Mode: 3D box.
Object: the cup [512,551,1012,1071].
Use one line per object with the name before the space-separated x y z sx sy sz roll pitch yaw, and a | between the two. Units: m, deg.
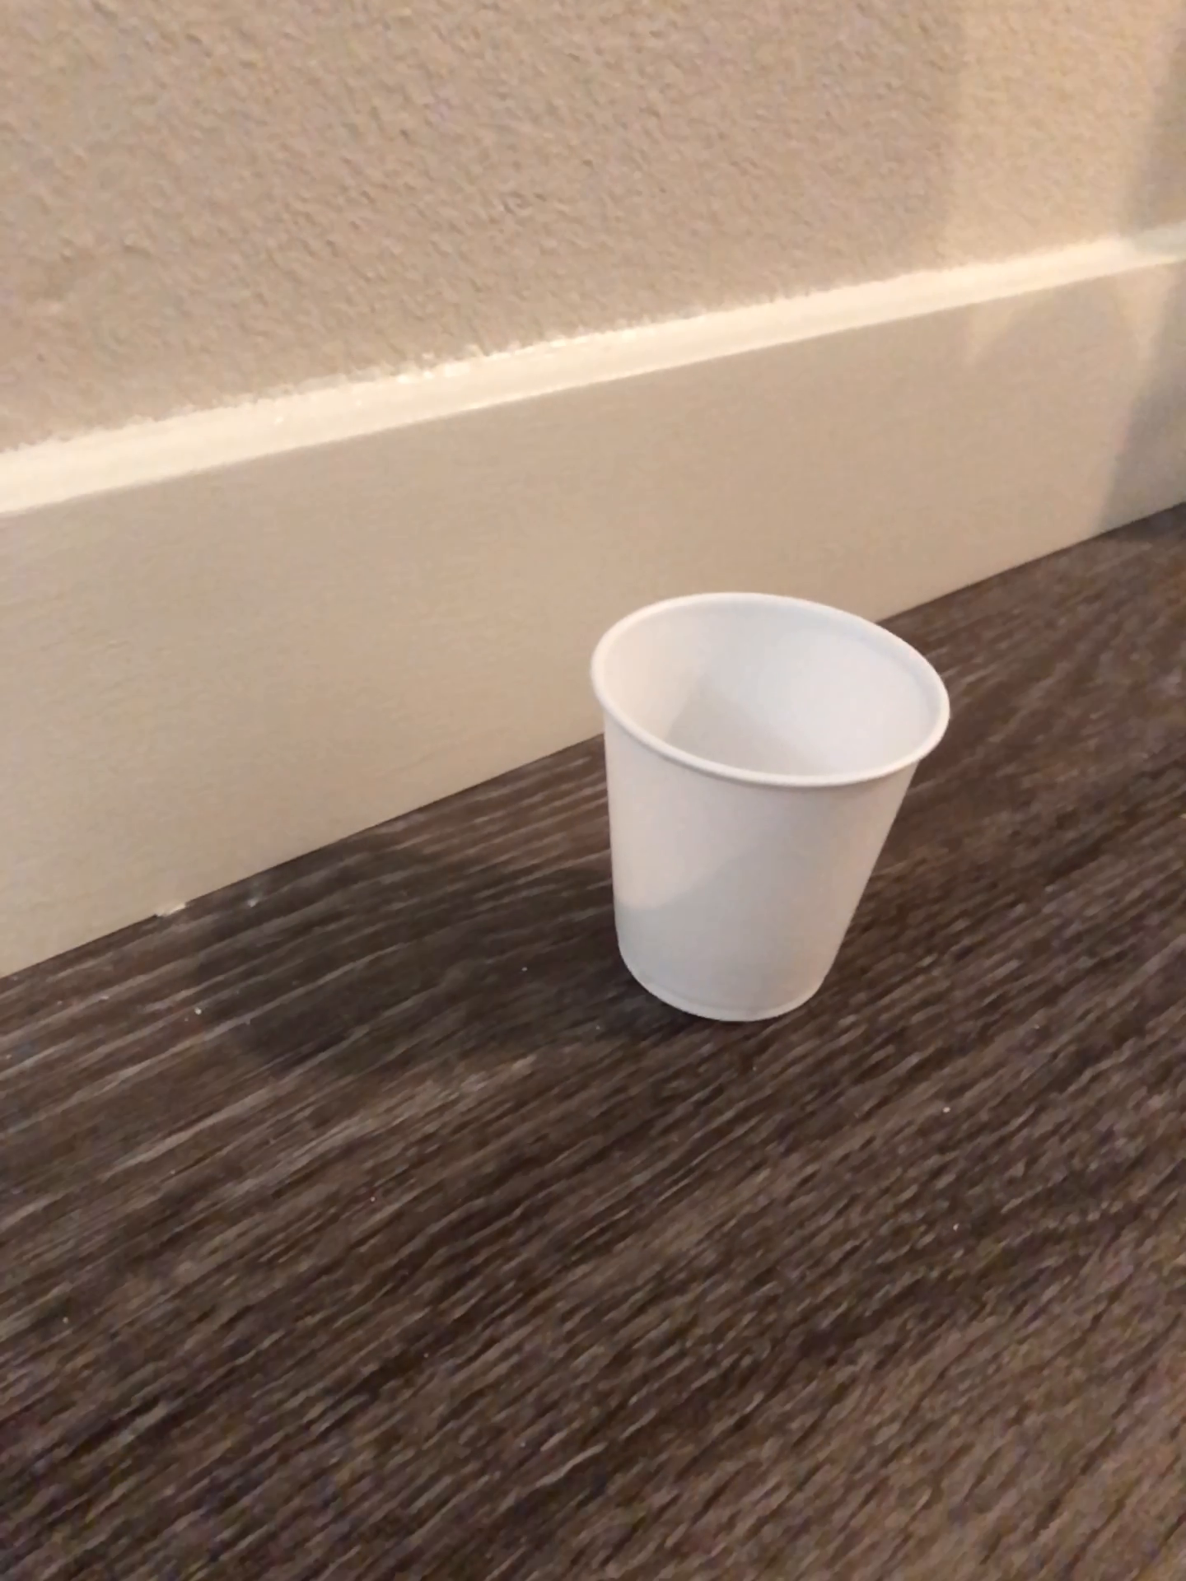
cup | 0.024 0.001 0.233 0.060 0.060 0.060 3 35 -2
